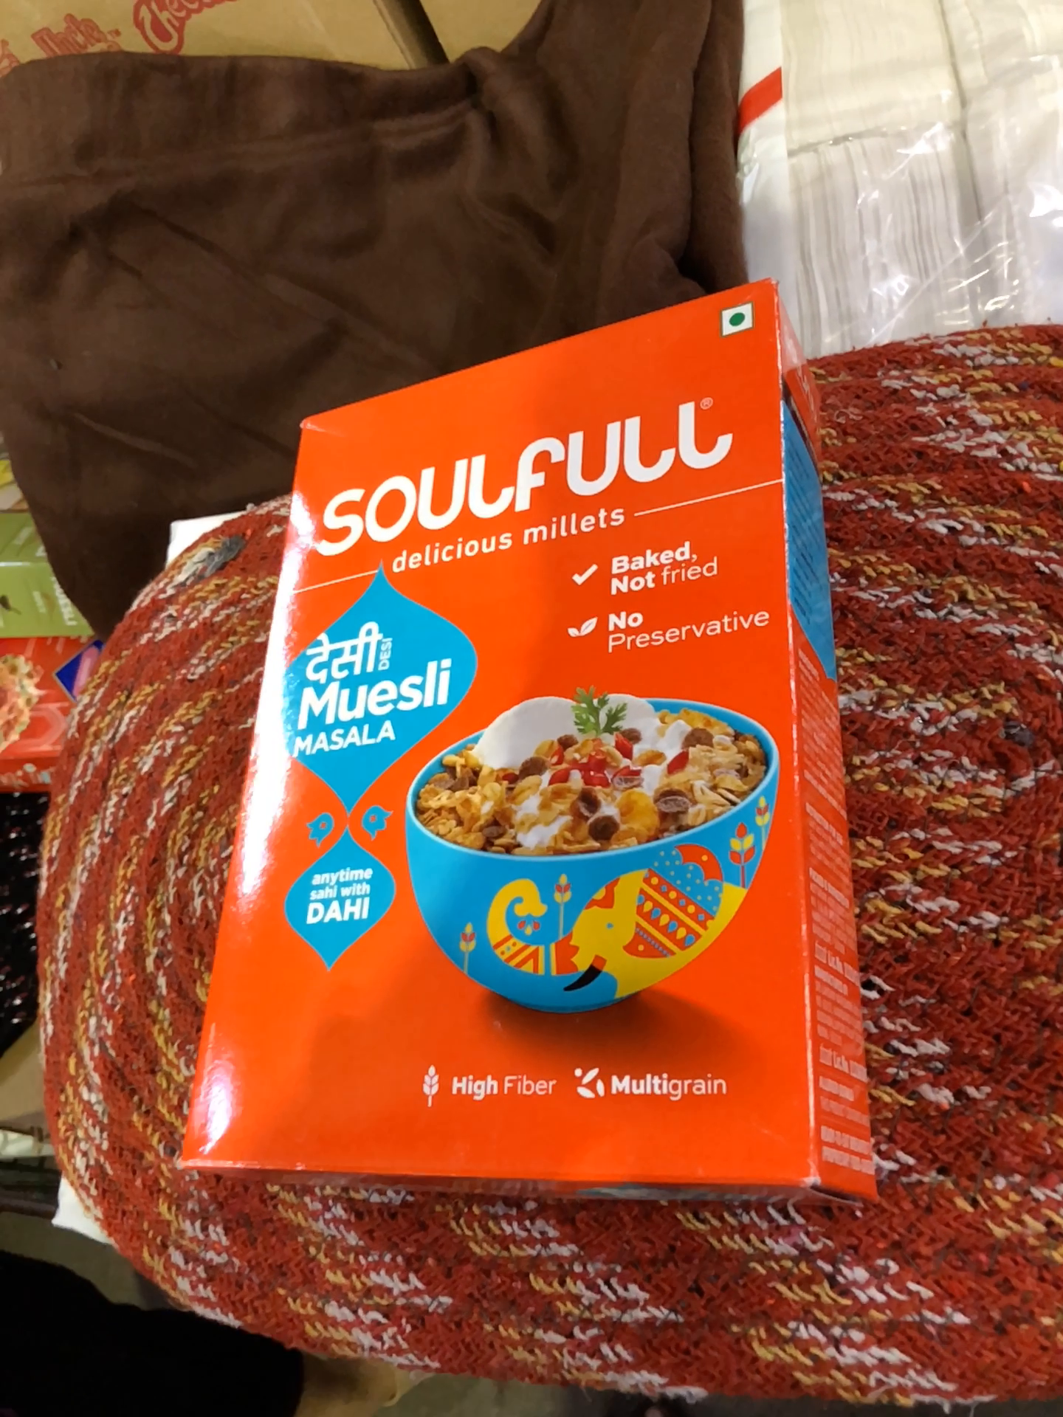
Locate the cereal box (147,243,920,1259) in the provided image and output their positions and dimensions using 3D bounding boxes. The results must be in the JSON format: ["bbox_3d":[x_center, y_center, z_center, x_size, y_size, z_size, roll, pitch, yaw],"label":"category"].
[{"bbox_3d":[0.002,0.011,0.342,0.180,0.060,0.261,-10,61,26],"label":"cereal box"}]
